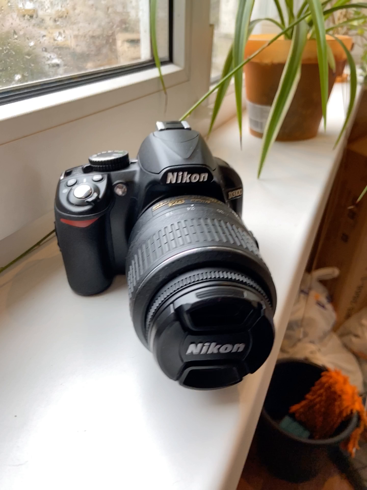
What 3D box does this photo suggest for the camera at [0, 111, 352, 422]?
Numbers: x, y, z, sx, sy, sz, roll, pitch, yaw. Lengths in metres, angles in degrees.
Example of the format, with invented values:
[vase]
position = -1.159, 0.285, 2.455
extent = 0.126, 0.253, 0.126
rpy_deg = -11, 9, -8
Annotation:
[camera]
position = -0.016, -0.009, 0.214
extent = 0.124, 0.091, 0.155
rpy_deg = -5, 32, -9
